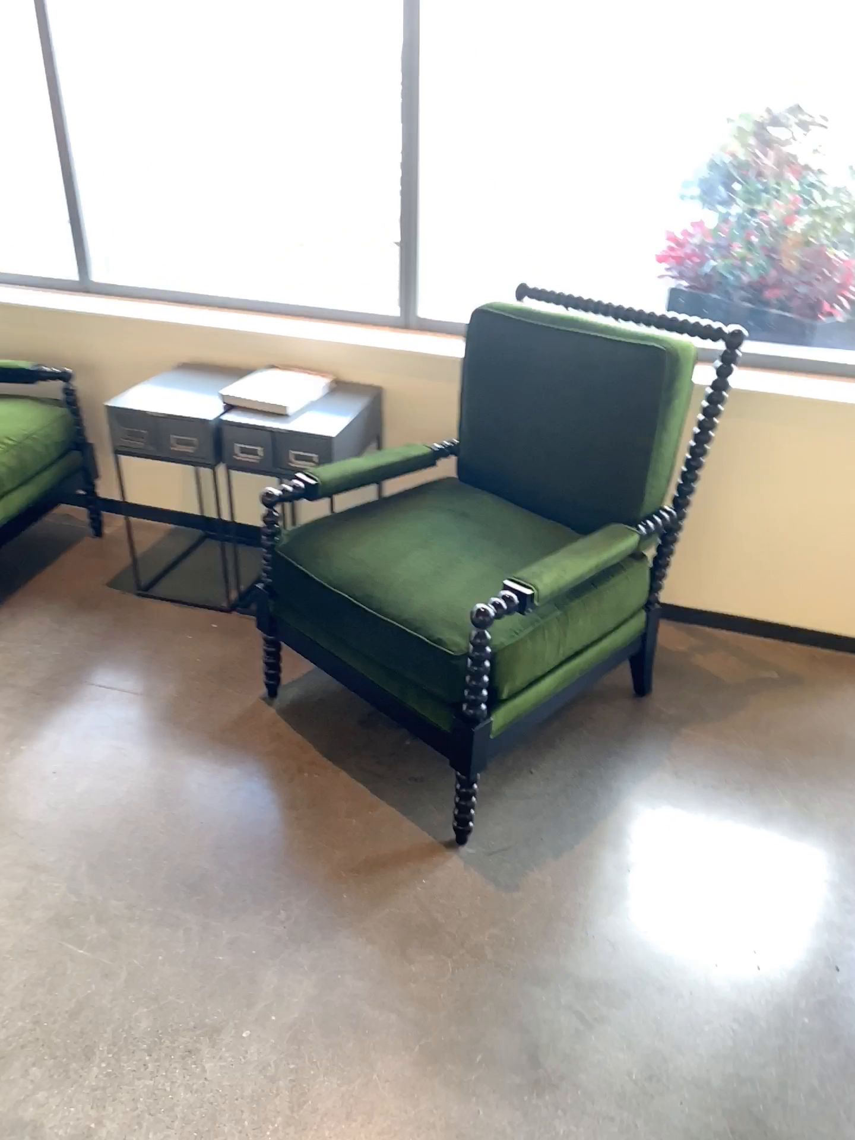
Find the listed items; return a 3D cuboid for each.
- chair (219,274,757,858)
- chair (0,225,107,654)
[{"bbox_3d":[0.136,-0.101,2.163,0.922,0.984,0.763,-25,39,-38],"label":"chair"},{"bbox_3d":[-1.641,-0.424,2.594,0.921,0.974,0.734,7,30,10],"label":"chair"}]
